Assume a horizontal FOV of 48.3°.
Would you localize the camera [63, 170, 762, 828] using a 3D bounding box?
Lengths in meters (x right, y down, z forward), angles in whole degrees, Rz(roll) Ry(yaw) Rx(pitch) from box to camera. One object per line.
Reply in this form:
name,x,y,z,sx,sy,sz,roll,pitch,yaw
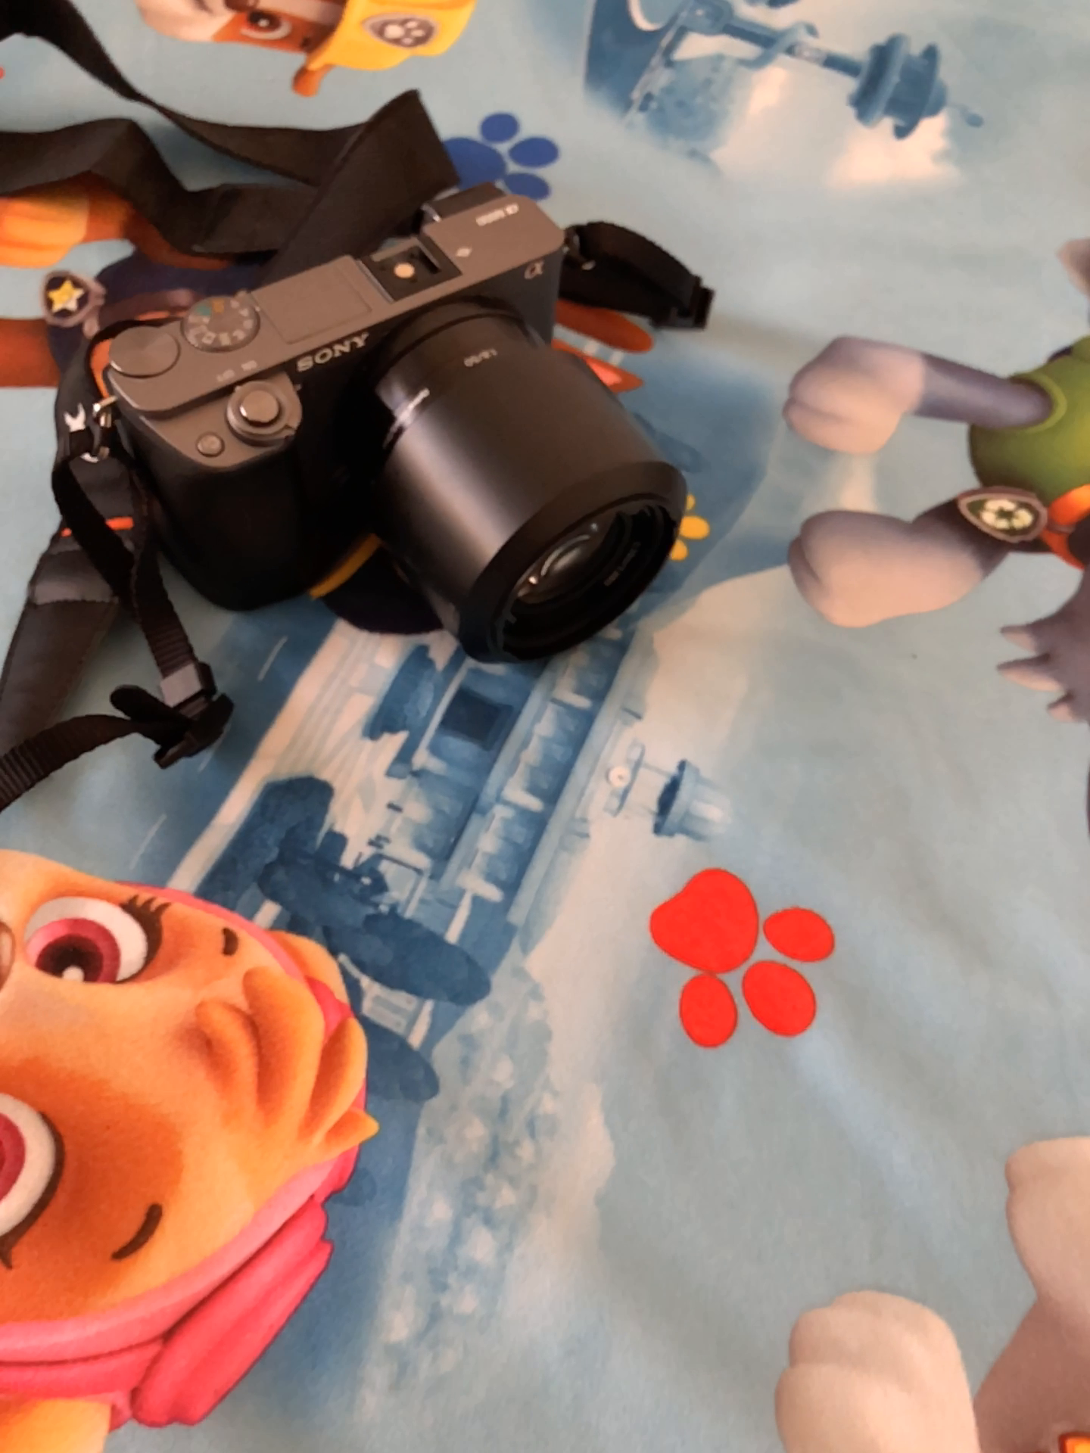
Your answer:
camera,-0.034,-0.064,0.328,0.130,0.080,0.110,-29,66,-19
